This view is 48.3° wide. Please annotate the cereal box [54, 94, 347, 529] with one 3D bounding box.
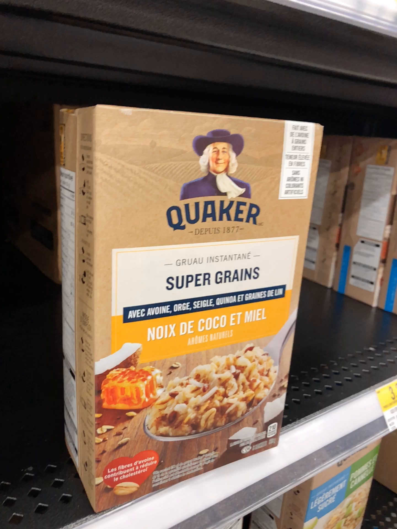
[{"bbox_3d":[-0.004,0.019,0.244,0.130,0.199,0.060,-6,20,-31],"label":"cereal box"}]
